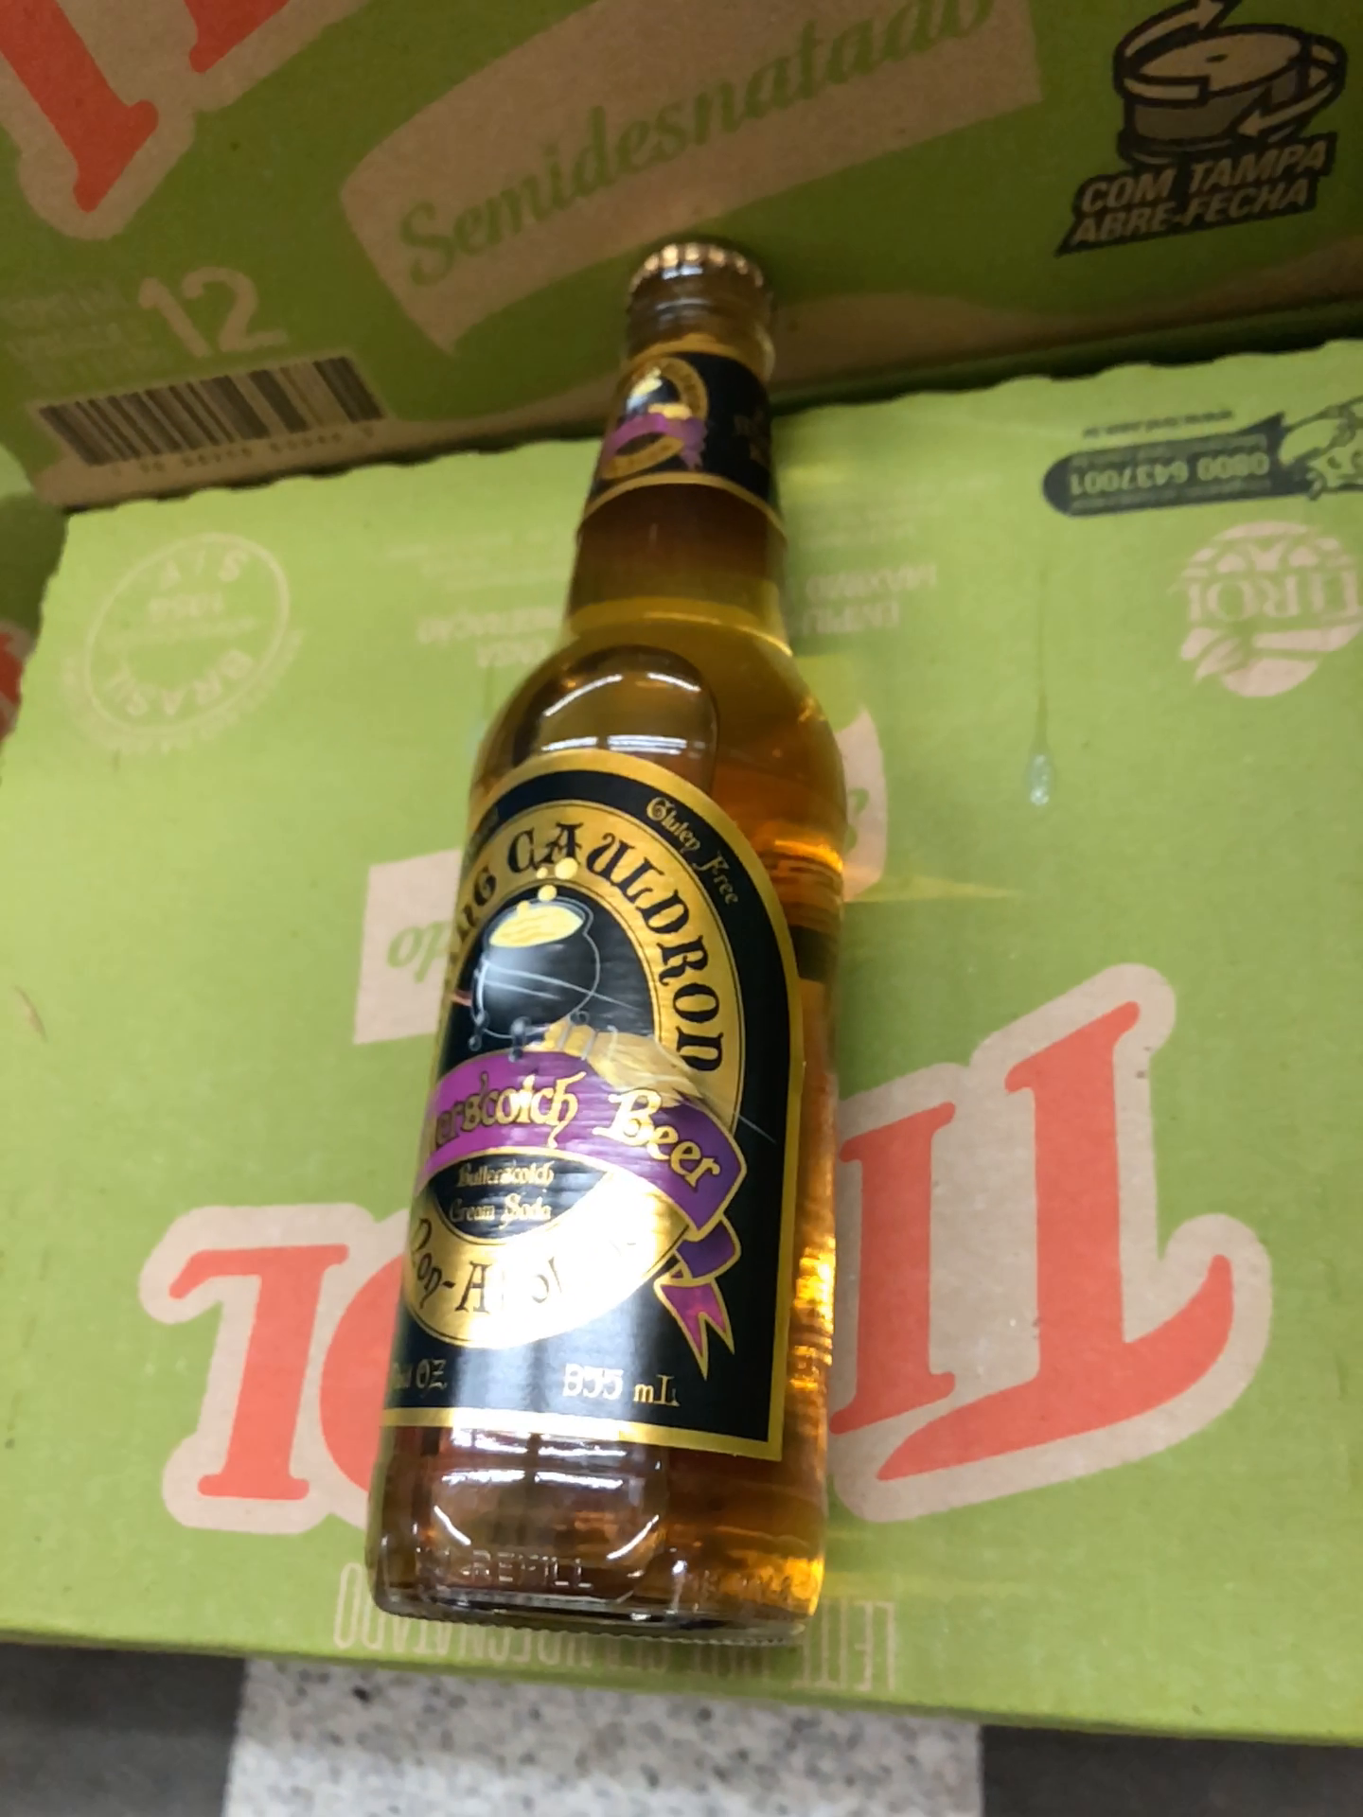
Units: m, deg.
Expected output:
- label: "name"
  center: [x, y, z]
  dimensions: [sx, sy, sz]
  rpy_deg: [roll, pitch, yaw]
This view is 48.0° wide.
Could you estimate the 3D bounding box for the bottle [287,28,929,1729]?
- label: "bottle"
  center: [0.001, -0.021, 0.244]
  dimensions: [0.070, 0.050, 0.261]
  rpy_deg: [-3, 66, 14]
